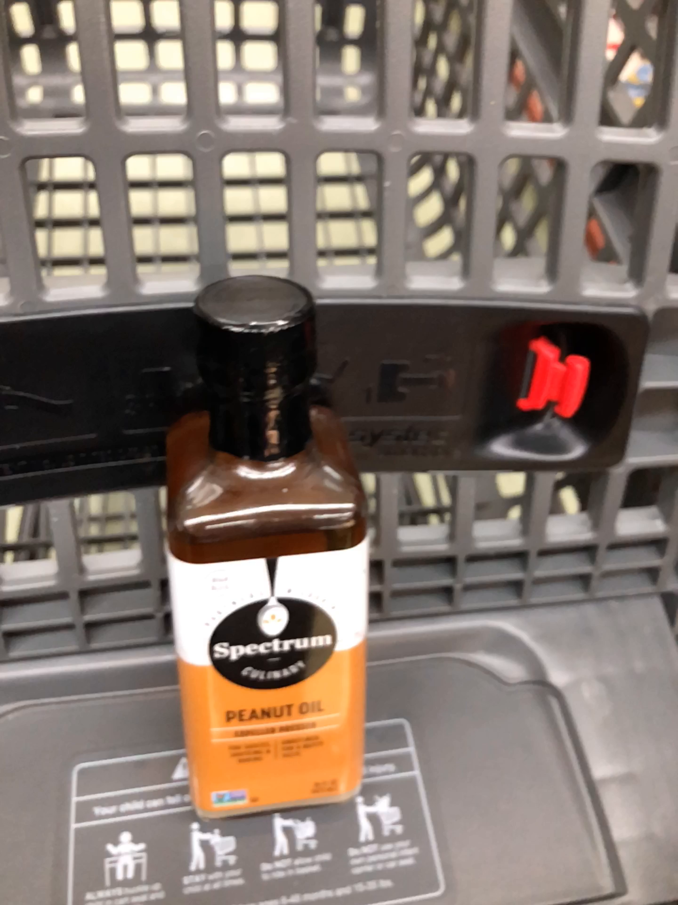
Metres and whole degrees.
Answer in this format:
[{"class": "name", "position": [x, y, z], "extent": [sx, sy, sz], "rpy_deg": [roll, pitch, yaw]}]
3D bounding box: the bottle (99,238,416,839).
[{"class": "bottle", "position": [-0.025, 0.036, 0.252], "extent": [0.070, 0.190, 0.070], "rpy_deg": [1, 34, -1]}]
